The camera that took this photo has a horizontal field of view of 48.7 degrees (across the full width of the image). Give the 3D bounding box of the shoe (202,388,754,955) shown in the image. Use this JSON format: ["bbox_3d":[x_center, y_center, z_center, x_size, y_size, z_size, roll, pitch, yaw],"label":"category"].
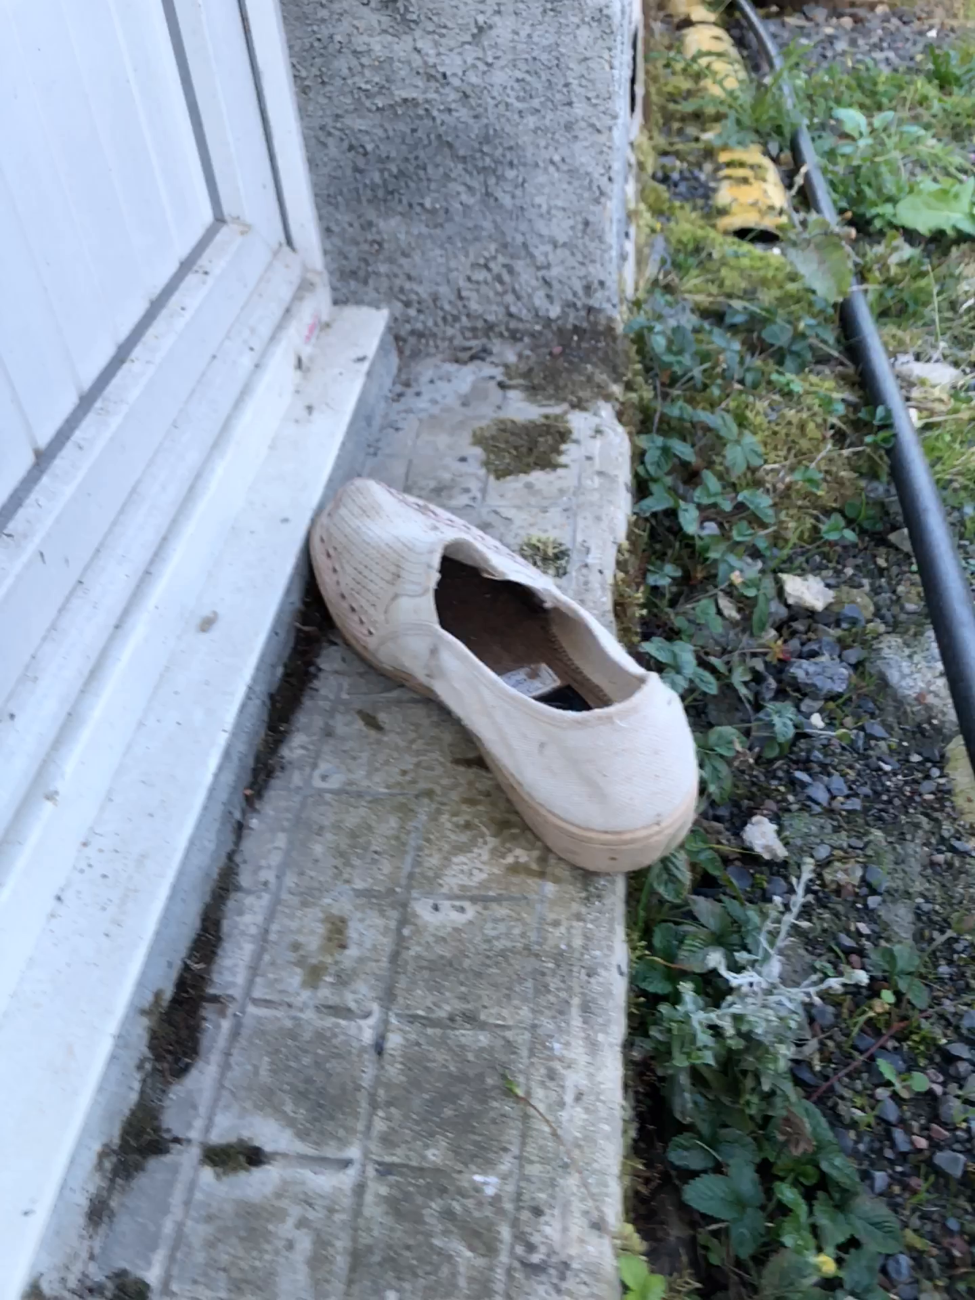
[{"bbox_3d":[-0.020,-0.012,0.484,0.100,0.080,0.281,-26,47,-21],"label":"shoe"}]
